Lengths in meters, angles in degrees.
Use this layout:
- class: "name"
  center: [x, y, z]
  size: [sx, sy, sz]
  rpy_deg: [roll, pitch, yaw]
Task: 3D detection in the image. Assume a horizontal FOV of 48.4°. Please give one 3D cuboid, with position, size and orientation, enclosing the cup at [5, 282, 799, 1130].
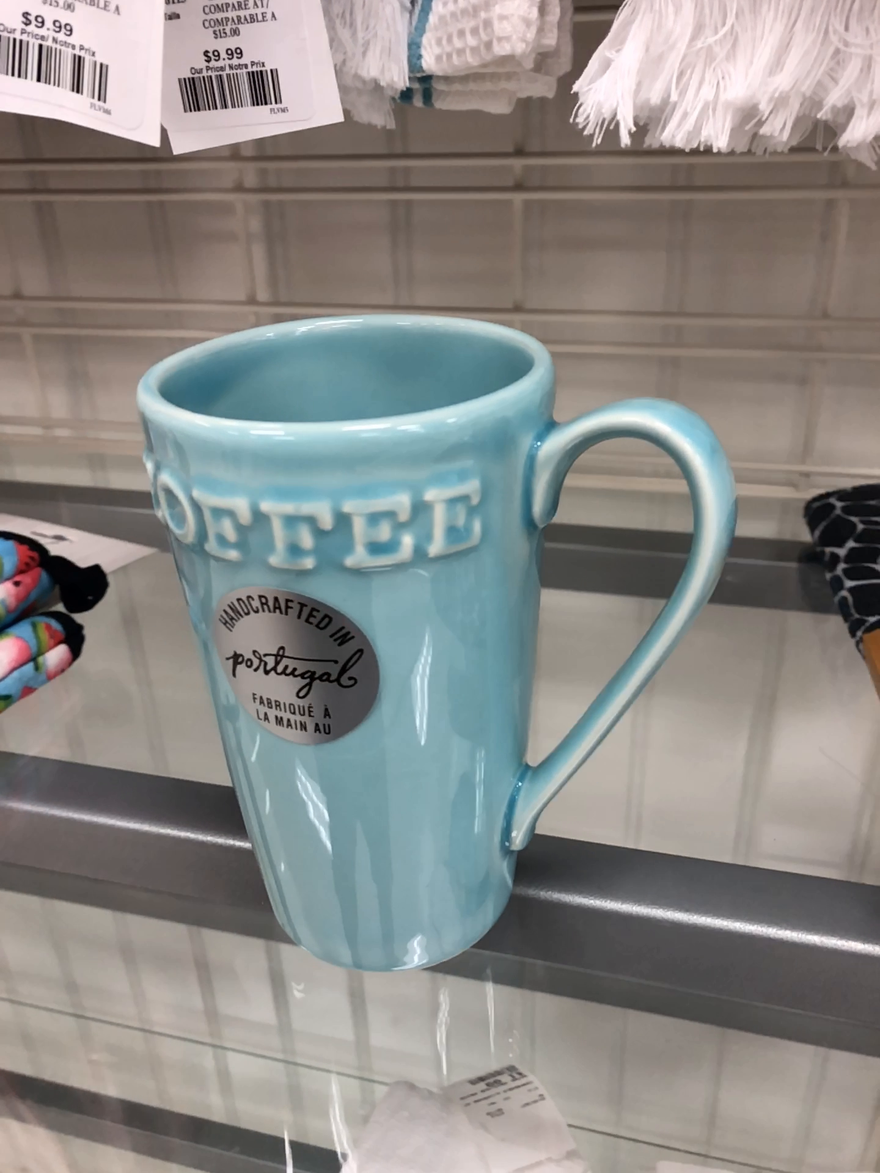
- class: "cup"
  center: [-0.003, 0.014, 0.226]
  size: [0.130, 0.139, 0.091]
  rpy_deg: [13, 31, 26]
